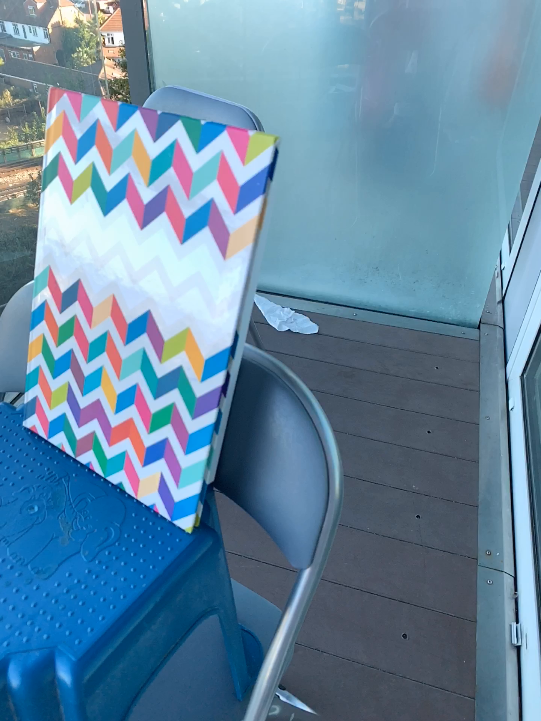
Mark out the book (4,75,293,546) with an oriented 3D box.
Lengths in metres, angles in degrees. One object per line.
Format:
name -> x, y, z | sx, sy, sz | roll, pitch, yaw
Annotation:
book -> -0.113, -0.040, 0.413 | 0.211, 0.289, 0.030 | 24, 21, 27
